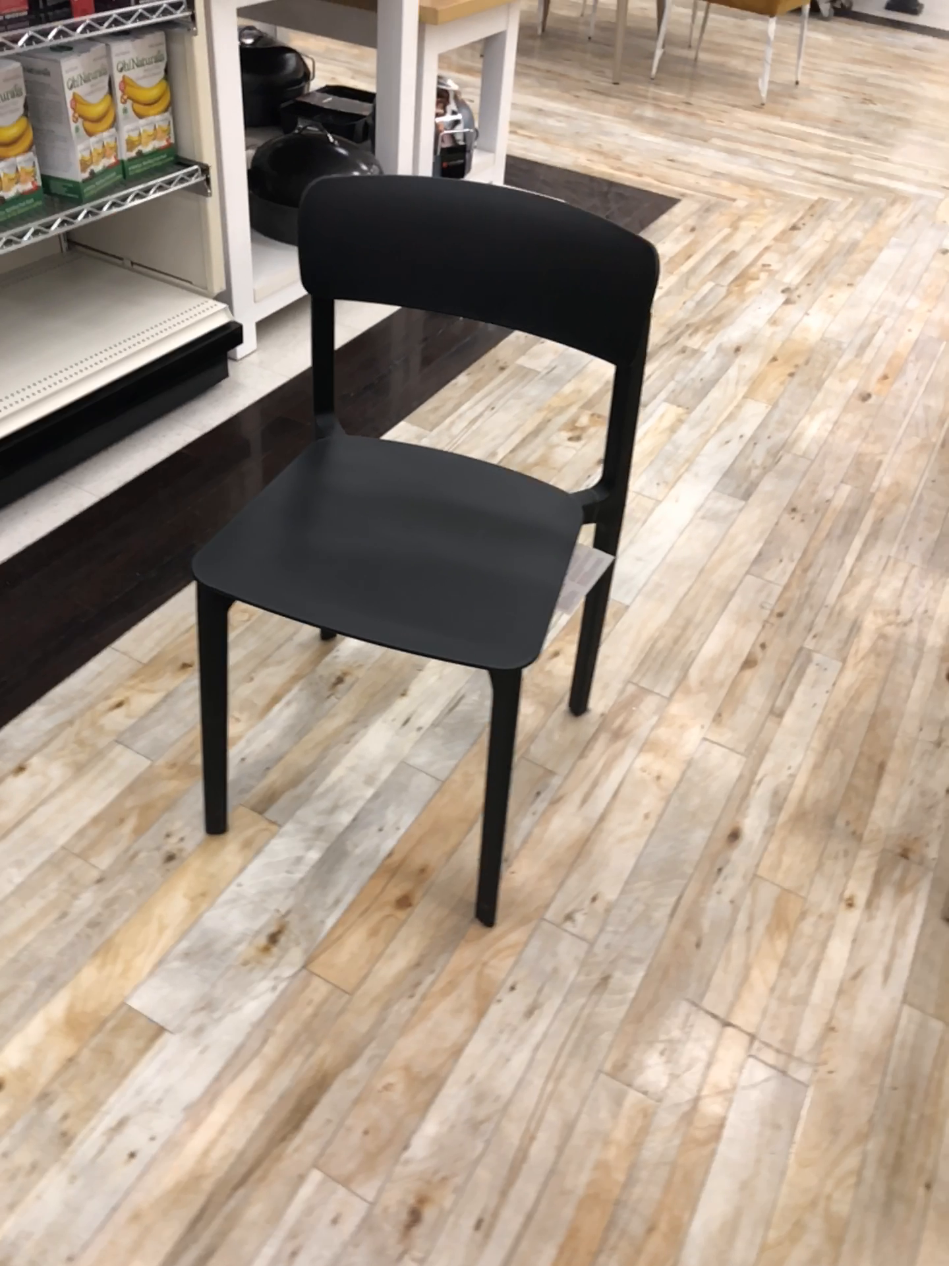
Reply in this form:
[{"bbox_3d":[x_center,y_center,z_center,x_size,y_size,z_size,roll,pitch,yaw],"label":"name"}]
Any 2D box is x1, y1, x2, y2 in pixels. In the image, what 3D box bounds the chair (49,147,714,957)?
[{"bbox_3d":[-0.074,-0.103,1.280,0.500,0.707,0.542,15,42,10],"label":"chair"}]
